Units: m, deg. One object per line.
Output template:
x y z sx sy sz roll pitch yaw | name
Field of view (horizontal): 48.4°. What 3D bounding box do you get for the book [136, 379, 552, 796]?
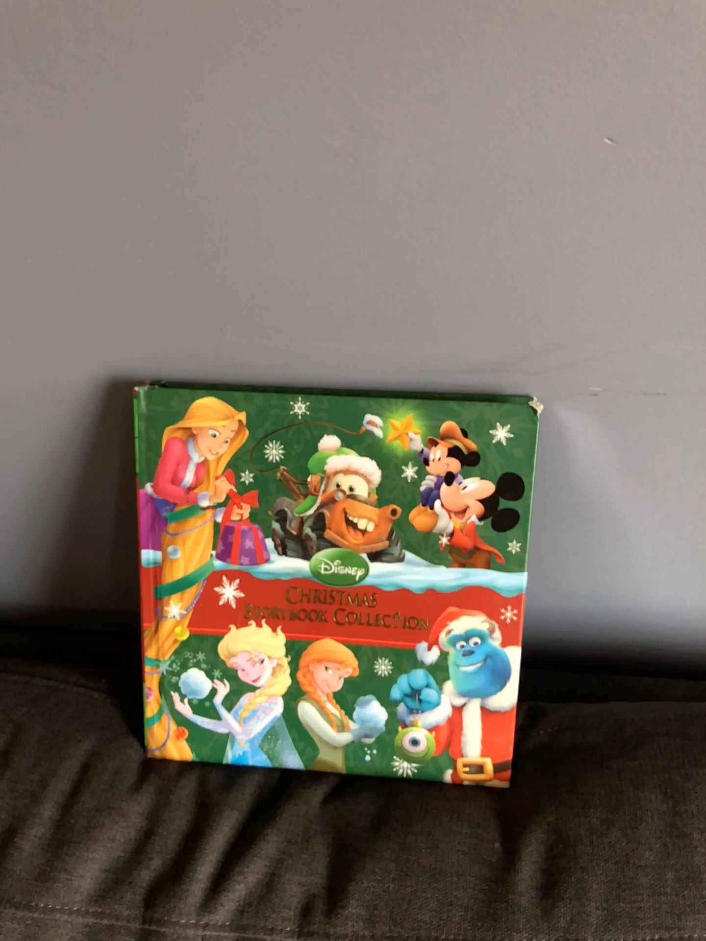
-0.009 0.071 0.471 0.227 0.238 0.033 3 15 6 | book
